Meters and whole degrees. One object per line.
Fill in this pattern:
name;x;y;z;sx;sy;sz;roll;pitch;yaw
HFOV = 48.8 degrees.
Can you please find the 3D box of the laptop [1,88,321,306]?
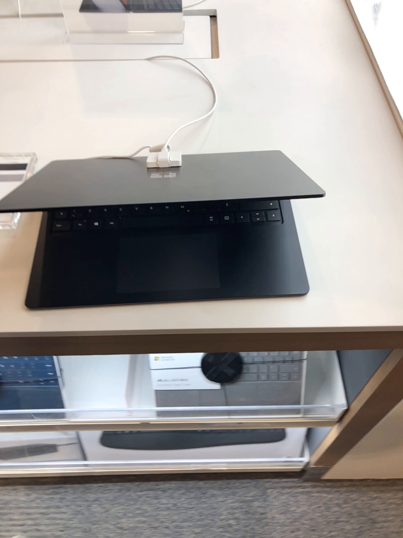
laptop;-0.037;-0.080;0.473;0.284;0.086;0.191;-3;62;-2
